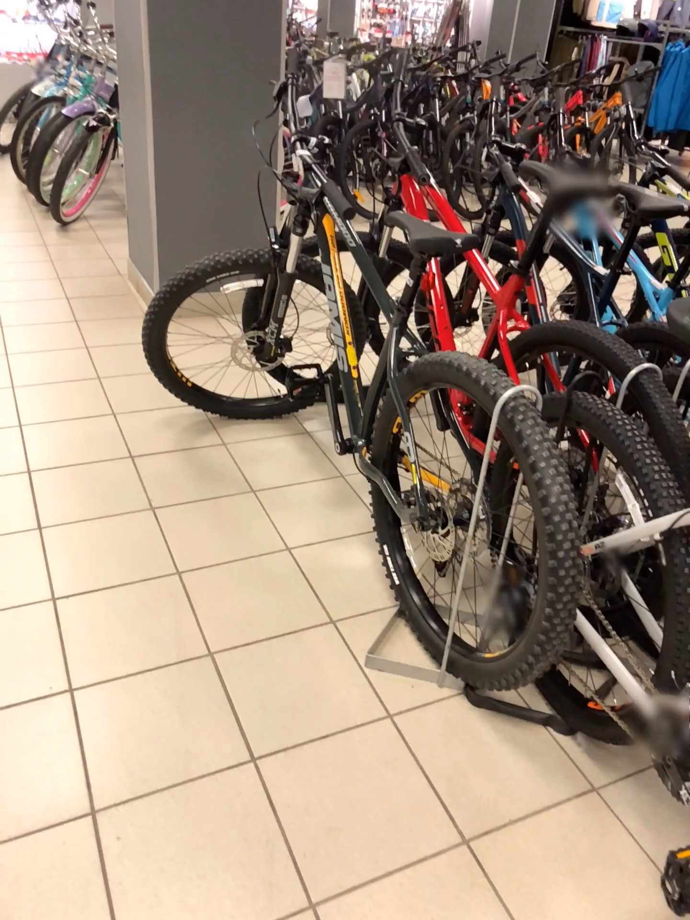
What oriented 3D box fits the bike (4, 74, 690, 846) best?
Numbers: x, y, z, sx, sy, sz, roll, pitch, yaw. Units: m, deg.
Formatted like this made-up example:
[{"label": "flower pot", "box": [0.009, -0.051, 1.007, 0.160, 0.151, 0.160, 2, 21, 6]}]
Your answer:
[{"label": "bike", "box": [-0.047, -0.191, 1.780, 0.809, 1.166, 1.546, -16, 35, -33]}]
